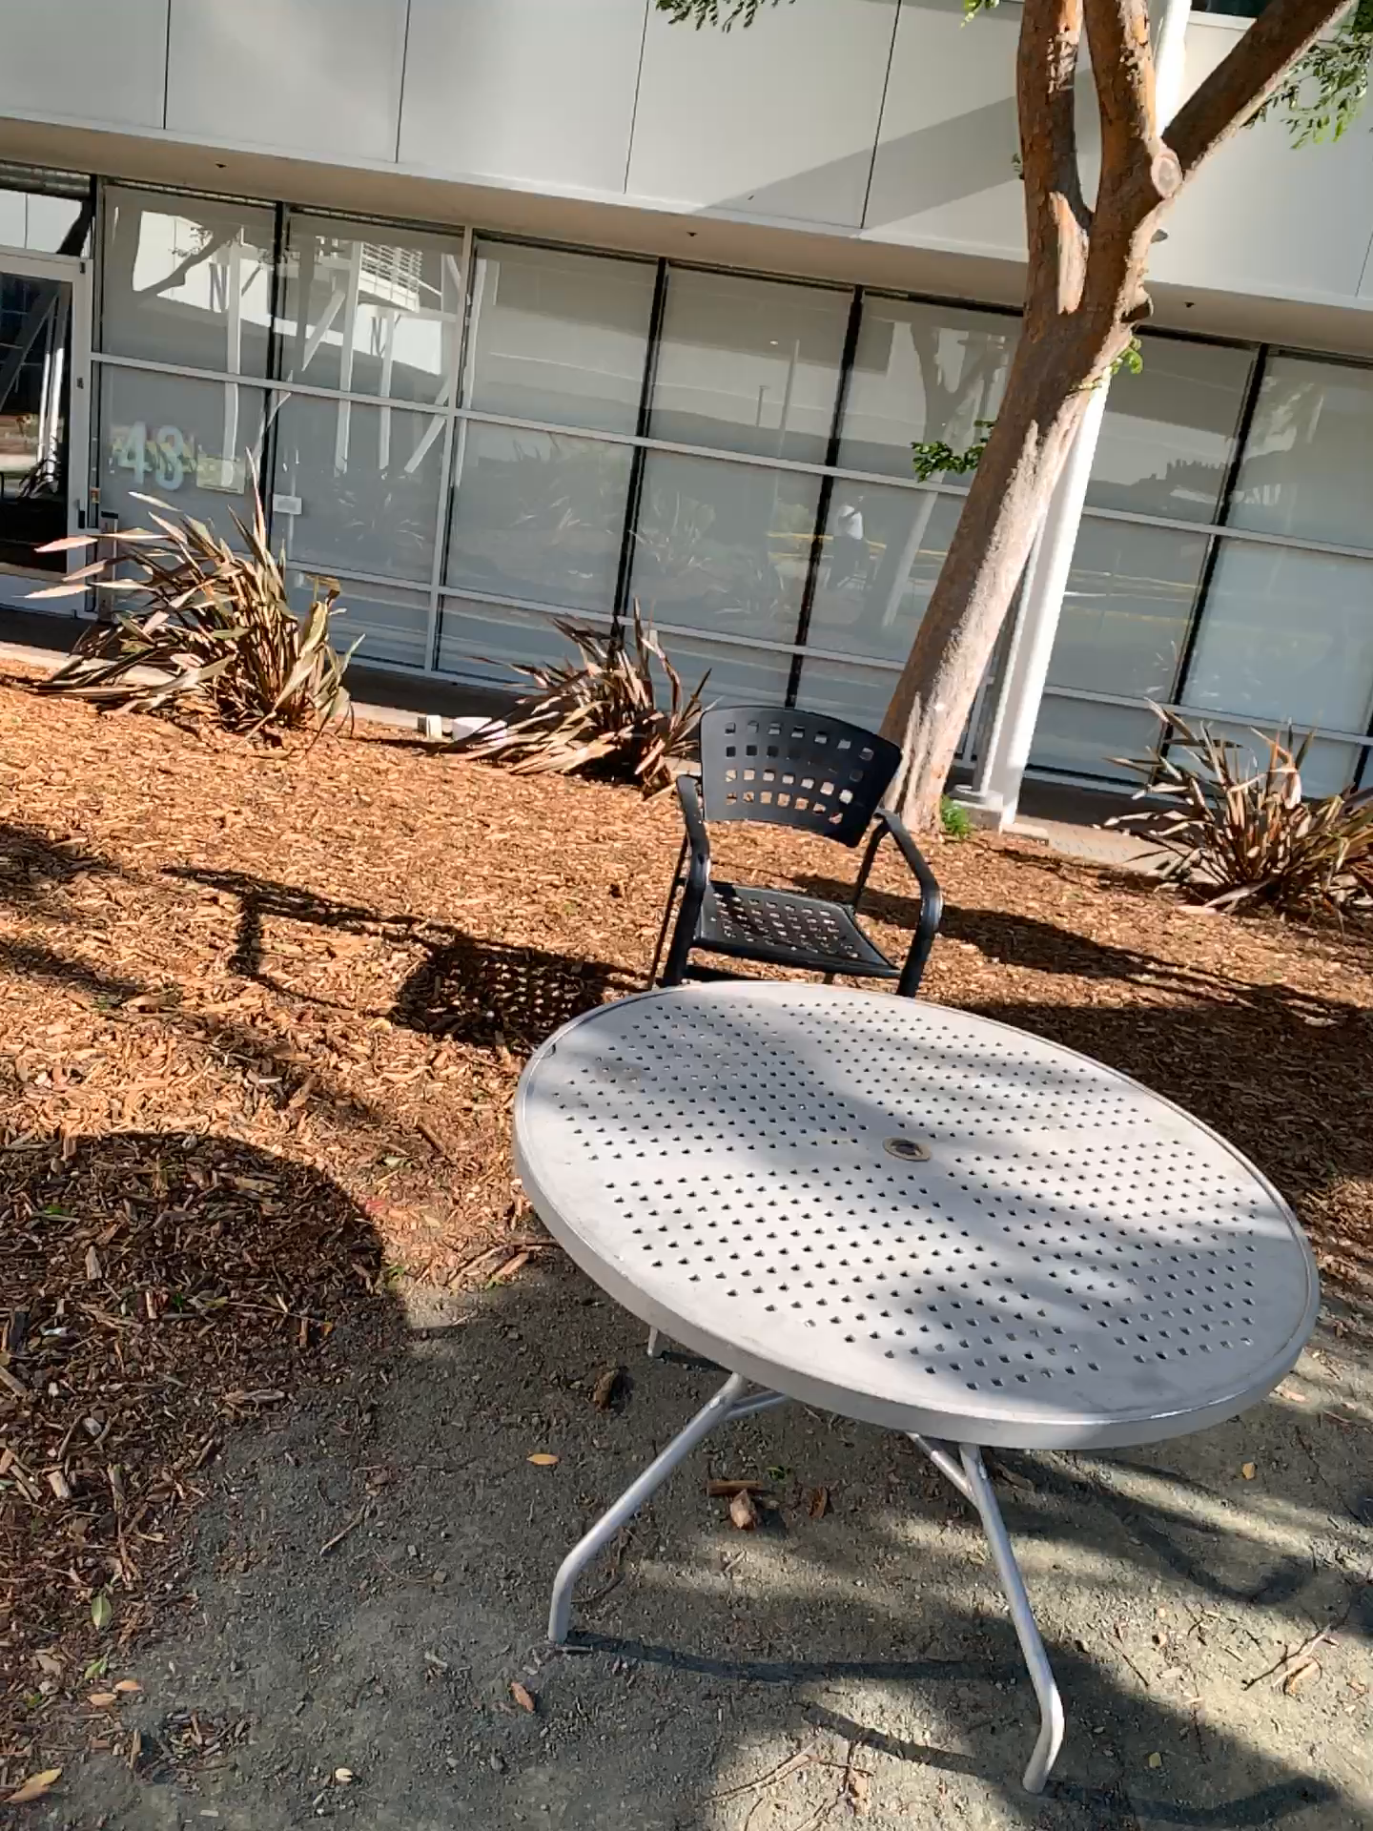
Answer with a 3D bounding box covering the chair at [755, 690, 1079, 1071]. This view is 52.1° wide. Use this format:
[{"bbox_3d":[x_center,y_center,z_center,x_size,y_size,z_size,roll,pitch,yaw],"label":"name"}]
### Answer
[{"bbox_3d":[0.502,-0.096,3.281,0.520,0.717,0.502,7,17,-6],"label":"chair"}]
